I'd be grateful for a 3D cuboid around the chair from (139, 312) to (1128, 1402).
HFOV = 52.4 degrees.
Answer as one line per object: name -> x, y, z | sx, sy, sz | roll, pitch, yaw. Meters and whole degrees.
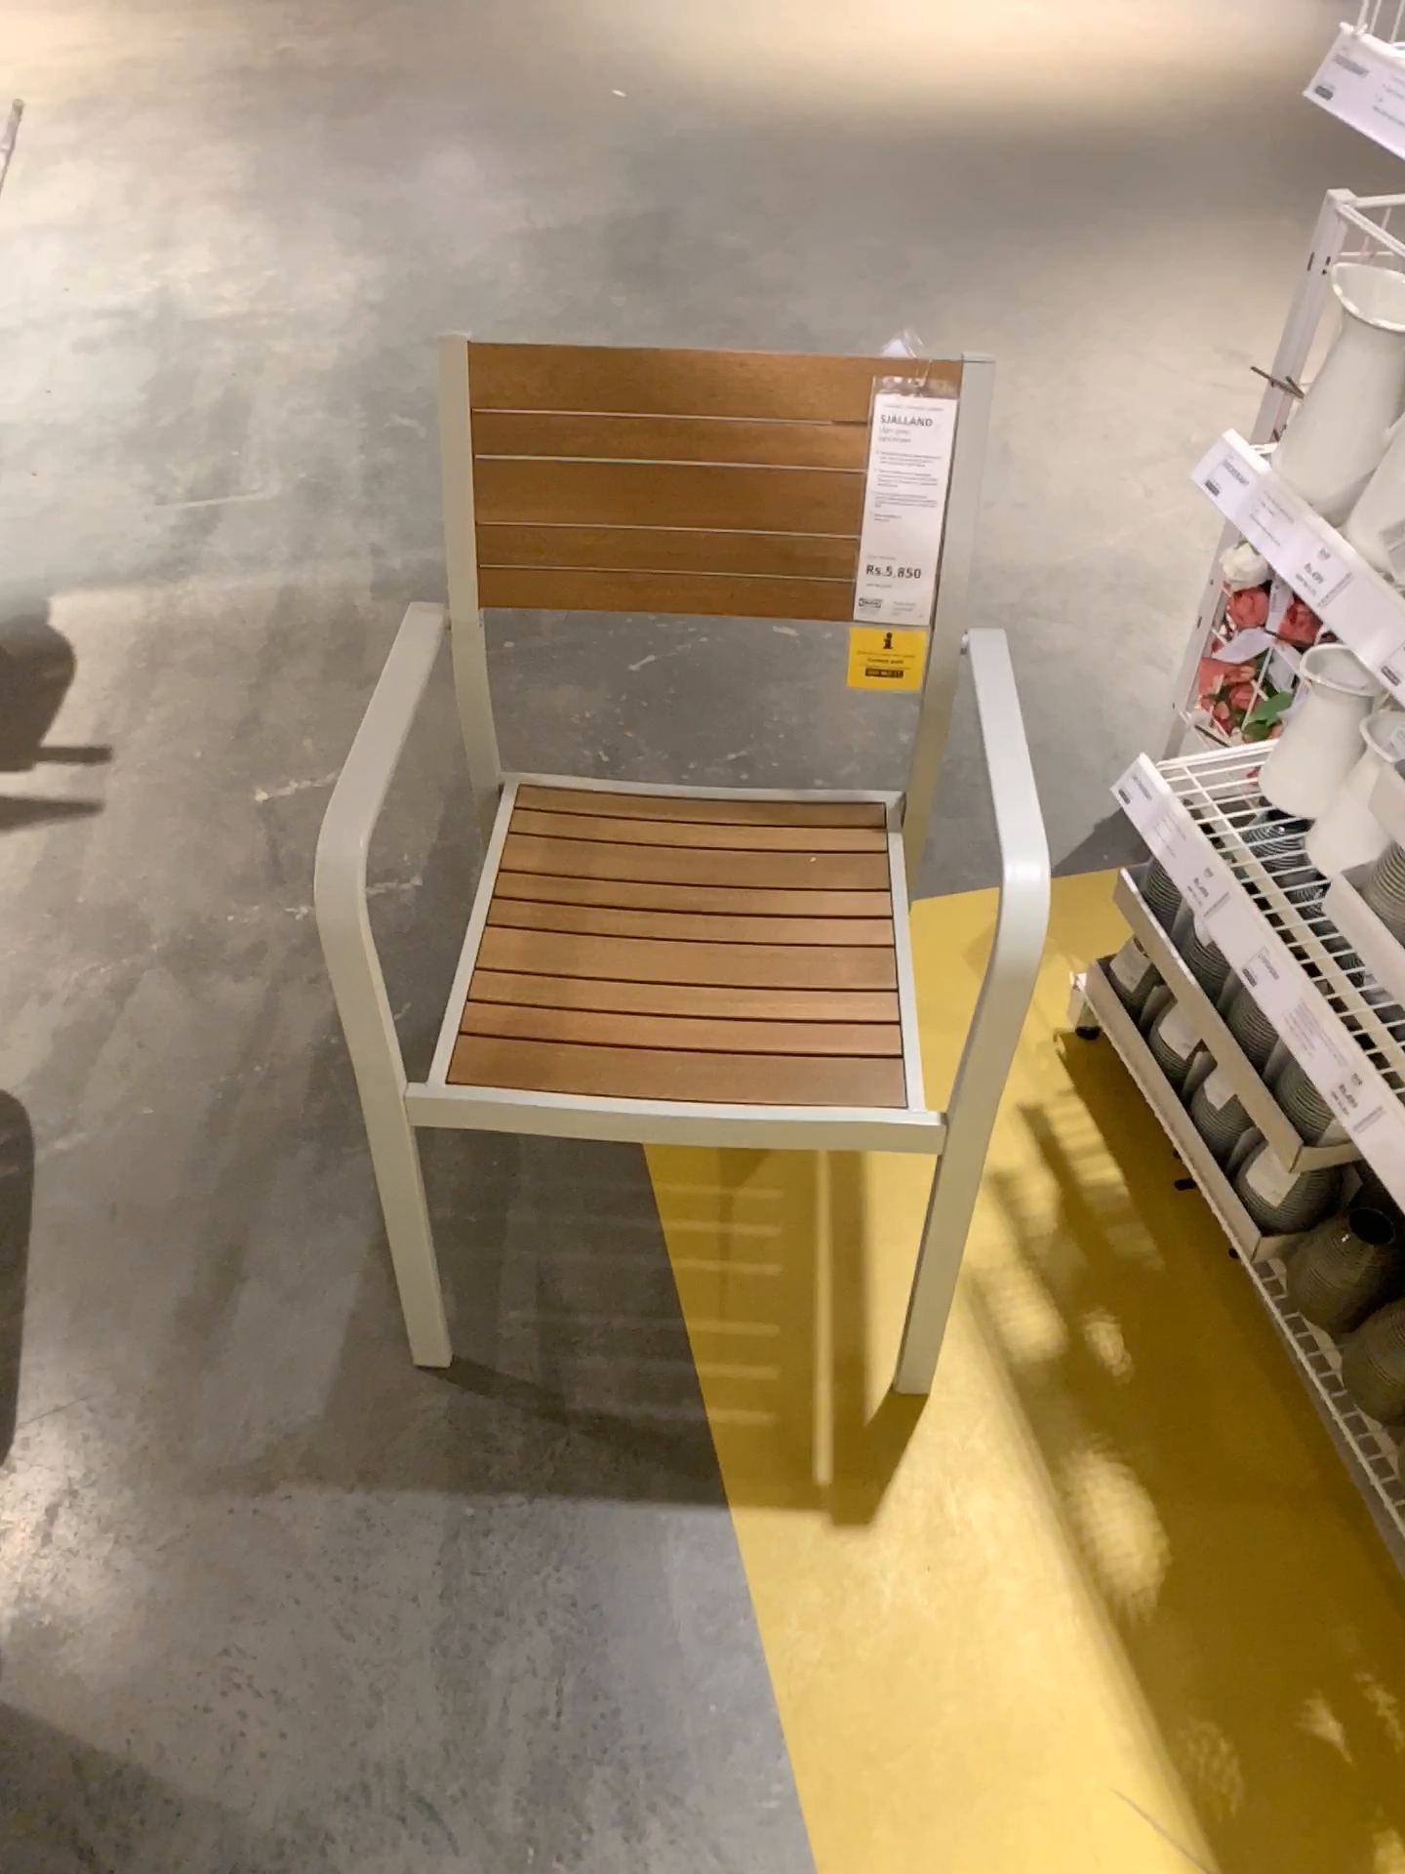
chair -> -0.025, -0.055, 1.276 | 0.560, 0.727, 0.602 | 3, 47, 3
